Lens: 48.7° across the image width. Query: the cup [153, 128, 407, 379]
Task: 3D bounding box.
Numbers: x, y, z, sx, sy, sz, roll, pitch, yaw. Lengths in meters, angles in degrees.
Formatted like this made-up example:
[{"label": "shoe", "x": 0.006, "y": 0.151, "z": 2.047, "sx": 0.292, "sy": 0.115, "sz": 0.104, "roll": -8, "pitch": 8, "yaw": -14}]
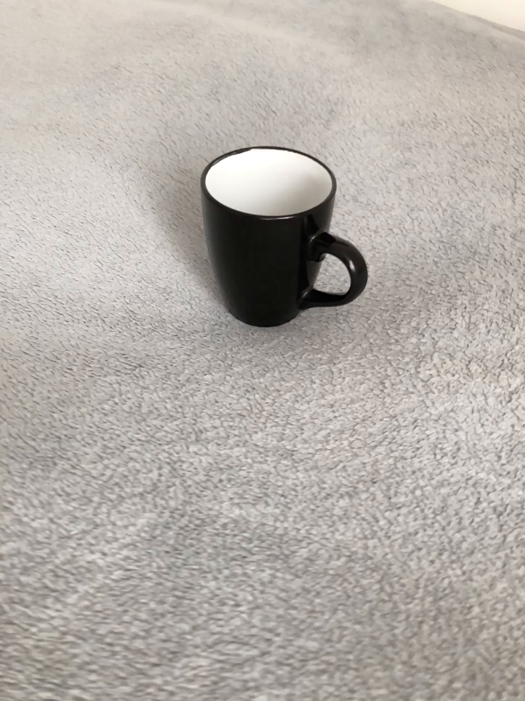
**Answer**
[{"label": "cup", "x": 0.006, "y": -0.069, "z": 0.383, "sx": 0.128, "sy": 0.089, "sz": 0.090, "roll": 36, "pitch": 52, "yaw": 27}]
